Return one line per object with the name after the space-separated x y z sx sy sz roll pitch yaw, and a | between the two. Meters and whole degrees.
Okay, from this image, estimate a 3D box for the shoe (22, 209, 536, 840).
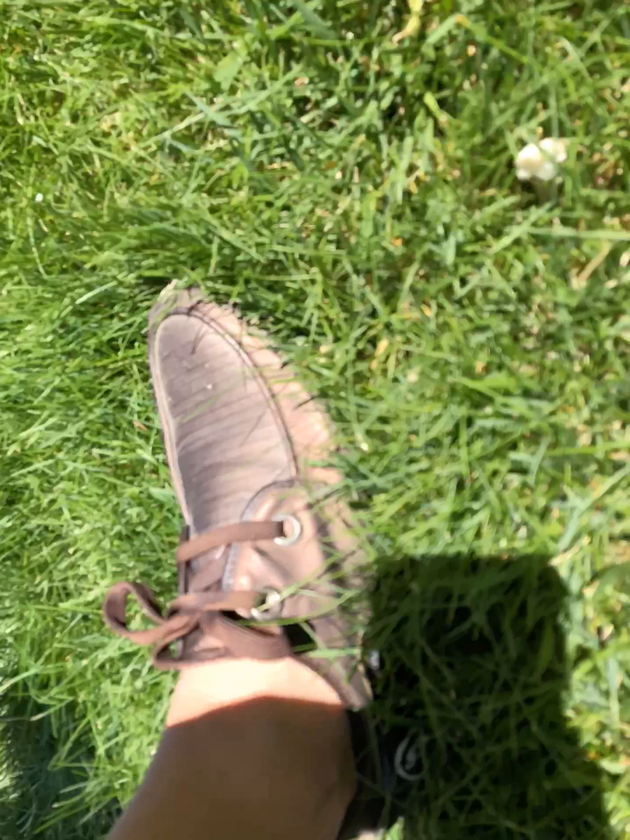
-0.019 0.063 0.327 0.110 0.107 0.293 -23 86 42 | shoe
